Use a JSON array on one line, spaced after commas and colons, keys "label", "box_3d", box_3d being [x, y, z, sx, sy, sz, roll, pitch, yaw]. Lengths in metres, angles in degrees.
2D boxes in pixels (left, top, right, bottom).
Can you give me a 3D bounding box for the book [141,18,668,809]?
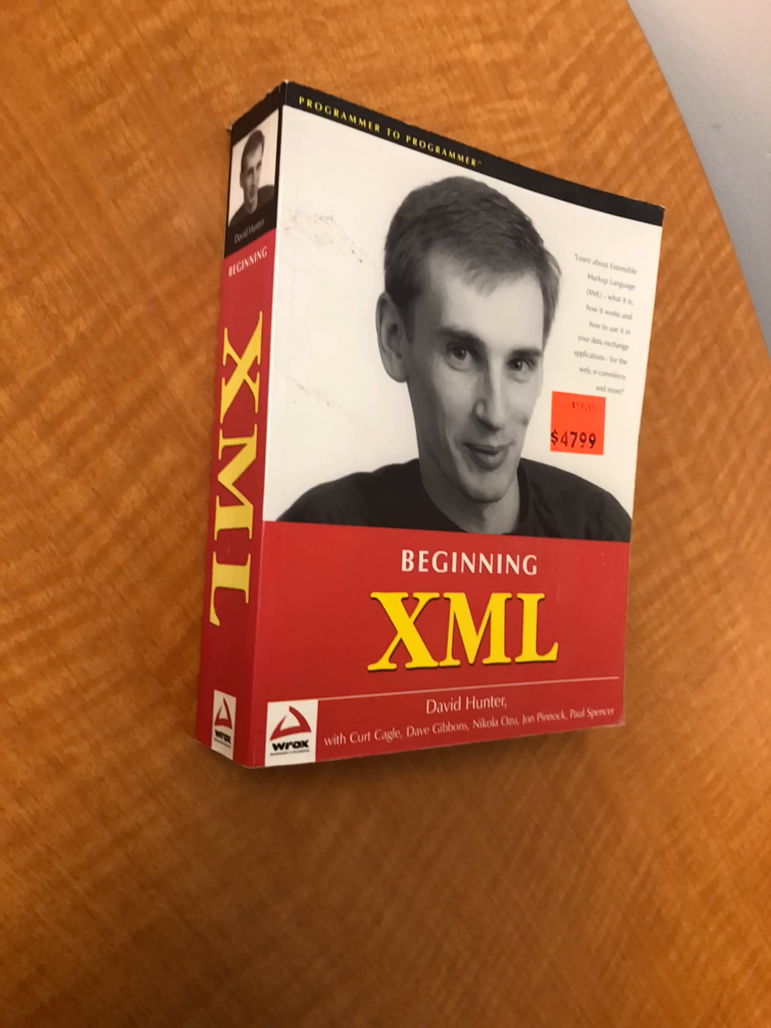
[{"label": "book", "box_3d": [0.021, -0.029, 0.379, 0.221, 0.070, 0.270, 5, 86, -34]}]
